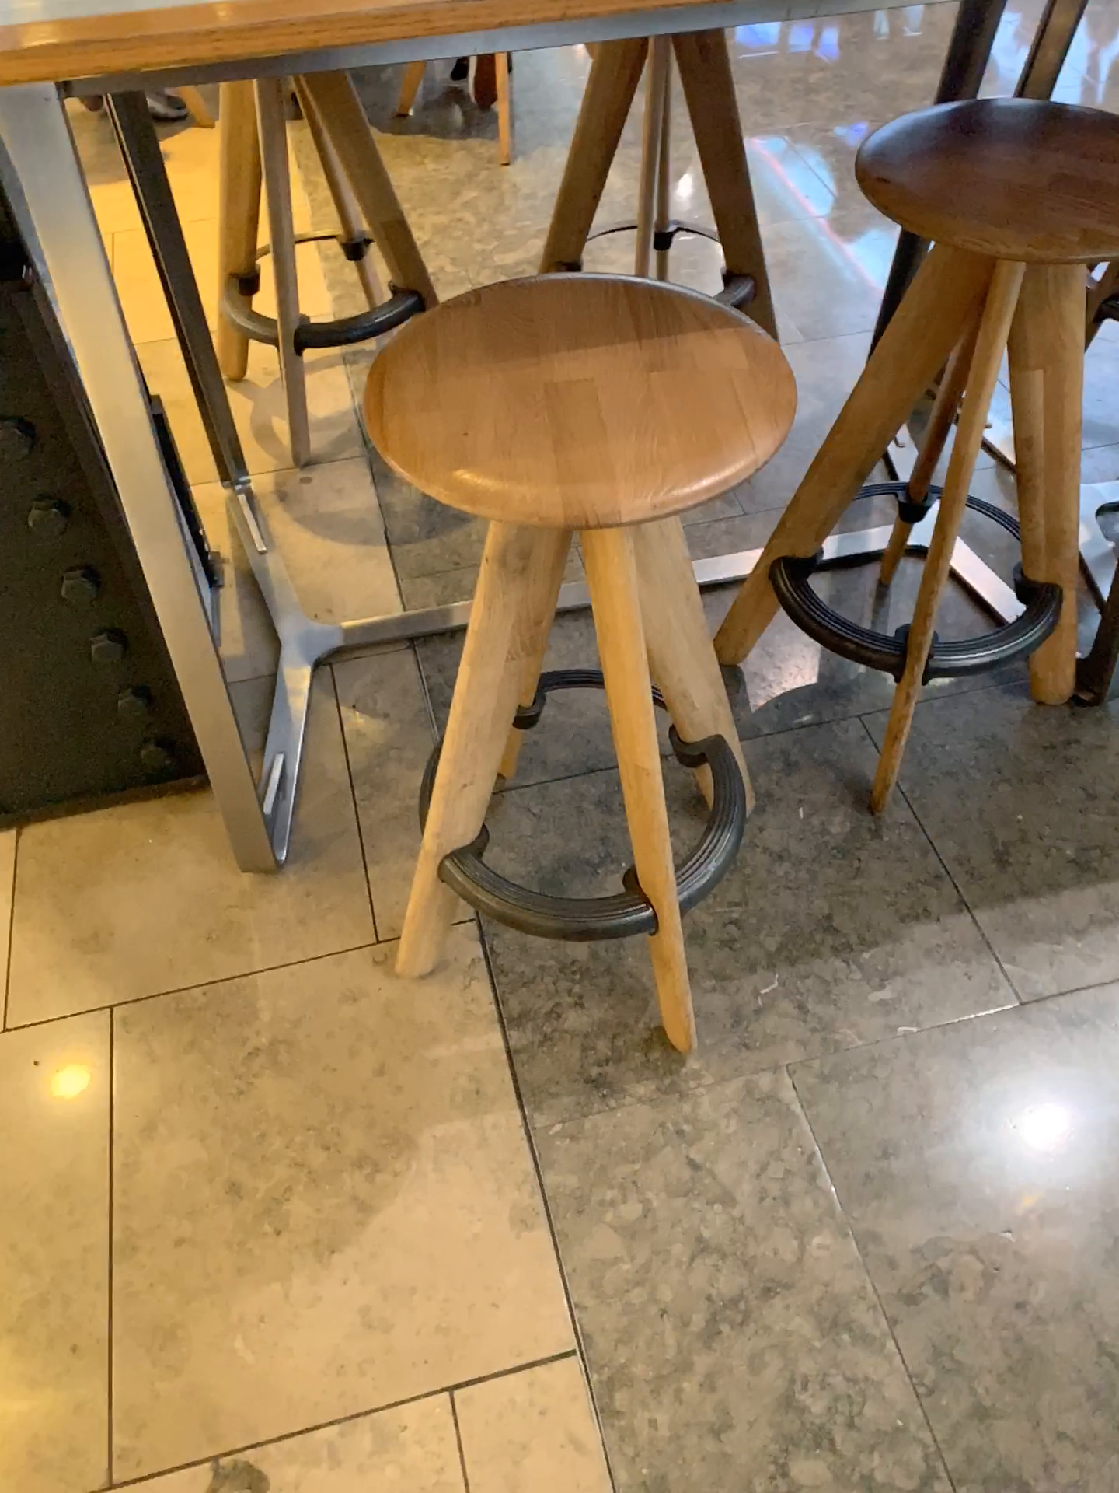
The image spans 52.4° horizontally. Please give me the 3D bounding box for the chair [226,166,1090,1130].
[{"bbox_3d":[0.034,-0.075,1.160,0.533,0.706,0.557,-12,51,-8],"label":"chair"}]

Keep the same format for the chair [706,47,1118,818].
[{"bbox_3d":[0.490,-0.339,1.359,0.463,0.706,0.426,-12,51,-8],"label":"chair"}]
